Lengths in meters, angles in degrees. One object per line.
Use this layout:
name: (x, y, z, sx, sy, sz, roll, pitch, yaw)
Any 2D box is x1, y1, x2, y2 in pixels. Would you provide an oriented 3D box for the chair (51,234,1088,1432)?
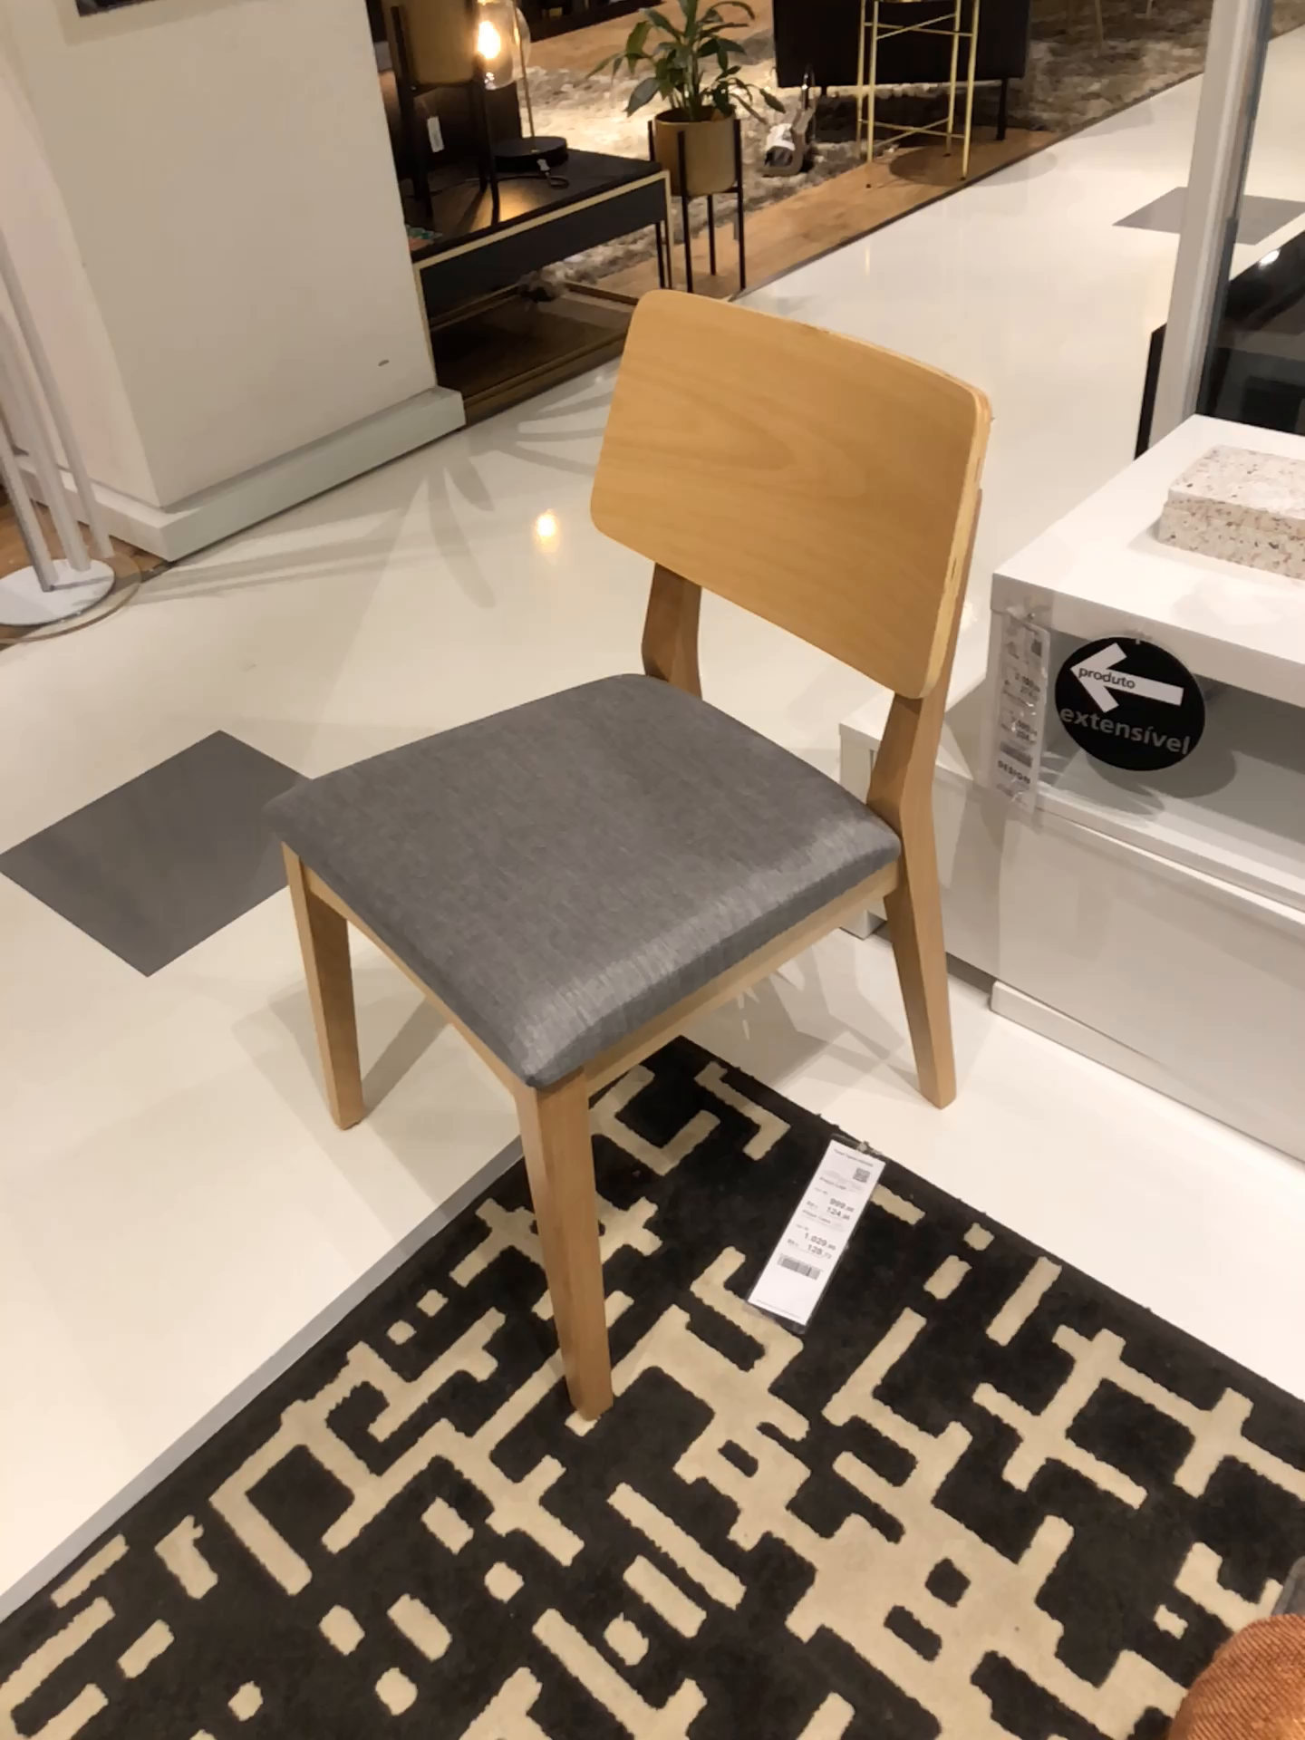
chair: (-0.050, -0.055, 1.337, 0.582, 0.794, 0.543, -30, 46, -27)
